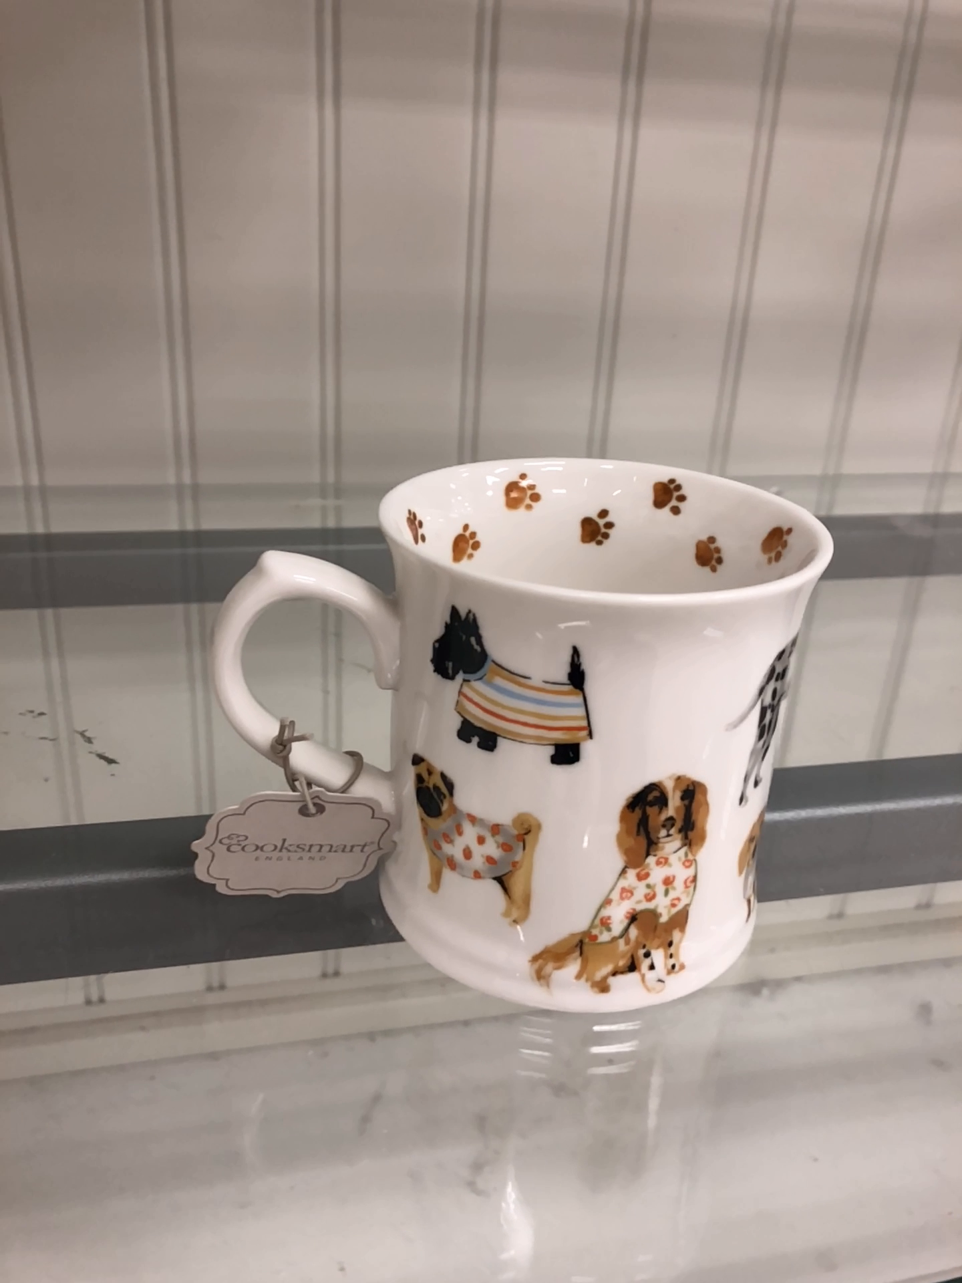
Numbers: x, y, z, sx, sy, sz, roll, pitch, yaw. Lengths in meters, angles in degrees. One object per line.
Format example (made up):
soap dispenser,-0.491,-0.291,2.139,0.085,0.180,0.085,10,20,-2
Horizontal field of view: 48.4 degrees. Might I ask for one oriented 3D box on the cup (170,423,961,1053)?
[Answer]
cup,0.013,0.013,0.224,0.125,0.089,0.101,2,24,-3
